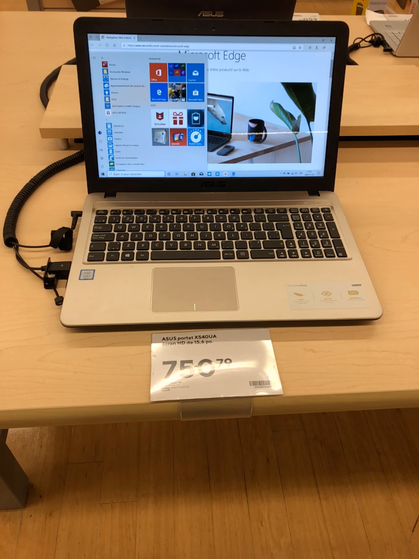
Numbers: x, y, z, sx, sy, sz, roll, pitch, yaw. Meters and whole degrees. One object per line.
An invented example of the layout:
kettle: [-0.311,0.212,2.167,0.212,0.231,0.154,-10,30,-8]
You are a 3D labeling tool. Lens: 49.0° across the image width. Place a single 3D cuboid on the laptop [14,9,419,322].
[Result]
laptop: [0.007,-0.163,0.607,0.383,0.215,0.361,-1,49,-4]
